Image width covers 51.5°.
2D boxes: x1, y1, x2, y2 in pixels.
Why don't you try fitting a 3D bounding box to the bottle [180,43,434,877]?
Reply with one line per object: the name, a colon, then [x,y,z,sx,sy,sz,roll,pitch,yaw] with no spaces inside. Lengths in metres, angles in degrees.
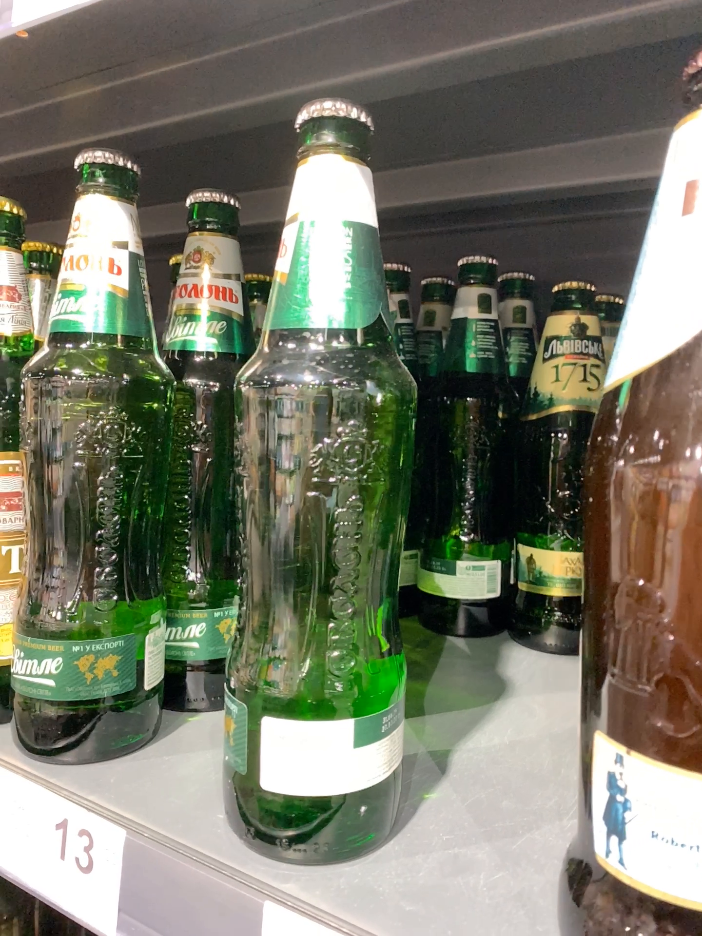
bottle: [-0.013,-0.002,0.267,0.070,0.257,0.073,2,4,0]
